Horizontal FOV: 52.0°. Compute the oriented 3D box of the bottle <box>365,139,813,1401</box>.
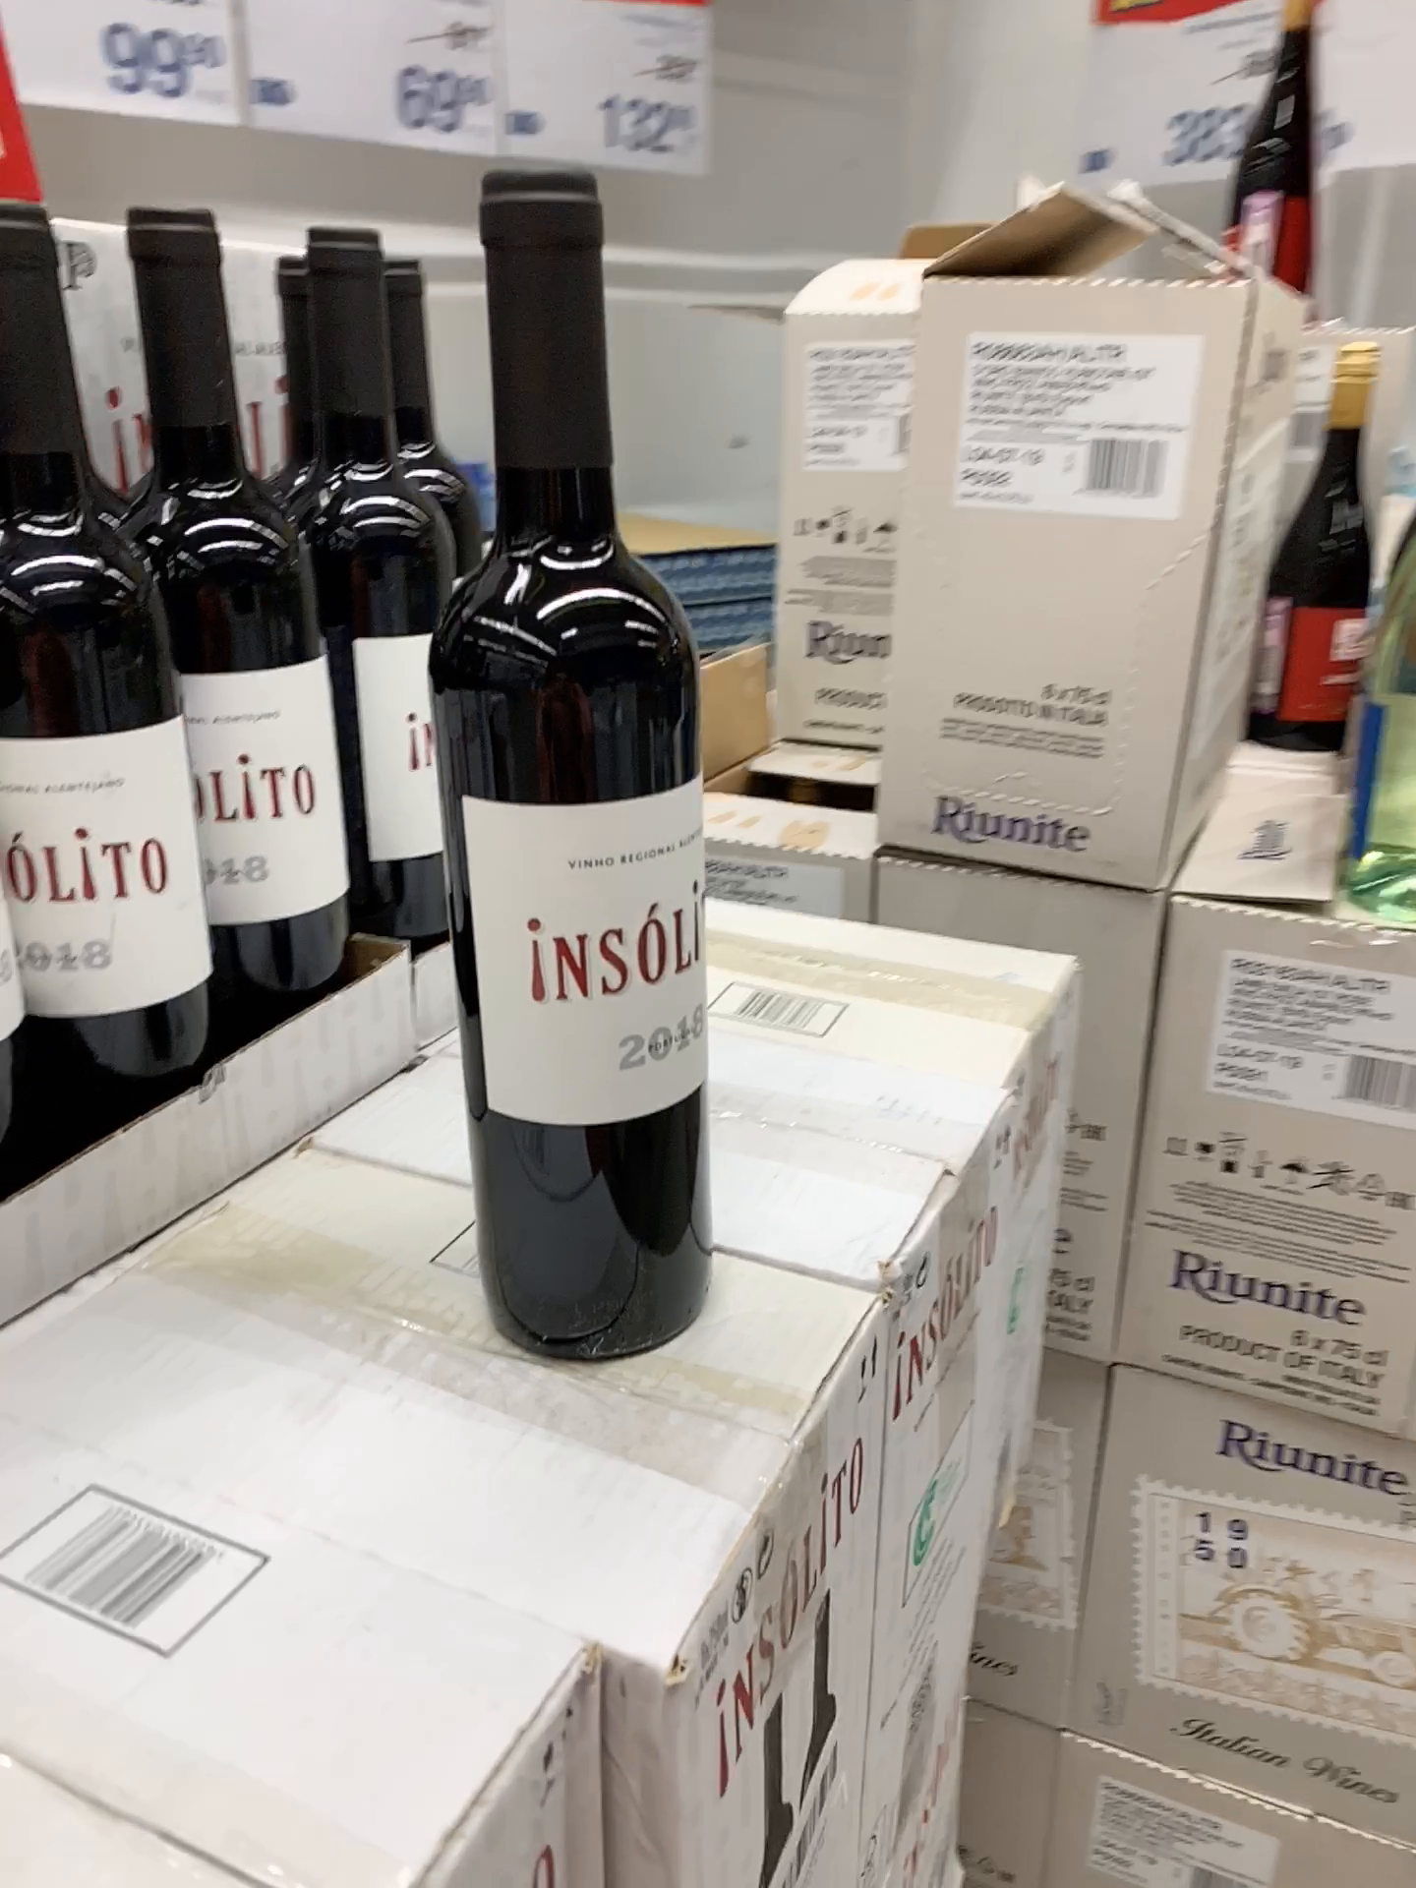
[{"bbox_3d":[-0.033,-0.038,0.401,0.077,0.310,0.080,1,20,0],"label":"bottle"}]
